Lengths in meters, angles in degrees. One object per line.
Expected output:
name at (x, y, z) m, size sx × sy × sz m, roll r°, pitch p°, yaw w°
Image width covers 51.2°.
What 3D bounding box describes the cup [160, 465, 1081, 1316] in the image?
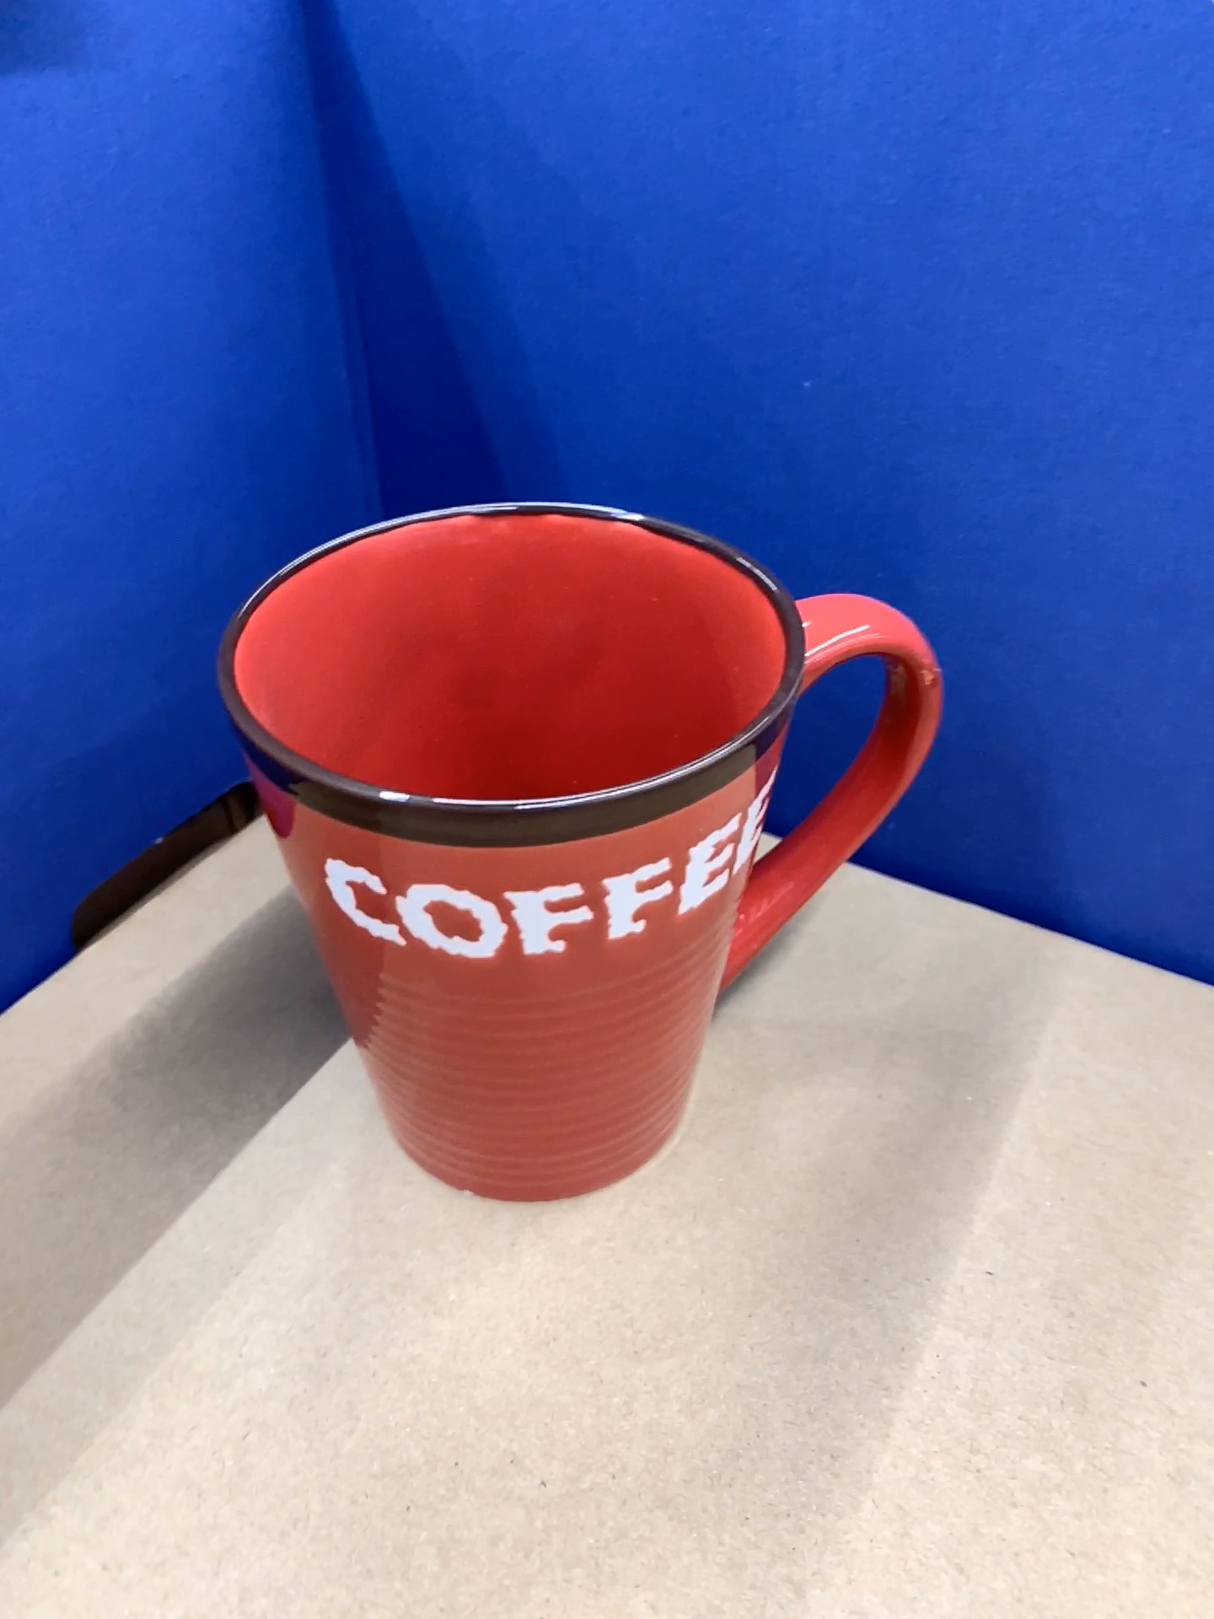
cup at (-0.005, 0.005, 0.235) m, size 0.125 × 0.092 × 0.101 m, roll -12°, pitch 37°, yaw -16°
